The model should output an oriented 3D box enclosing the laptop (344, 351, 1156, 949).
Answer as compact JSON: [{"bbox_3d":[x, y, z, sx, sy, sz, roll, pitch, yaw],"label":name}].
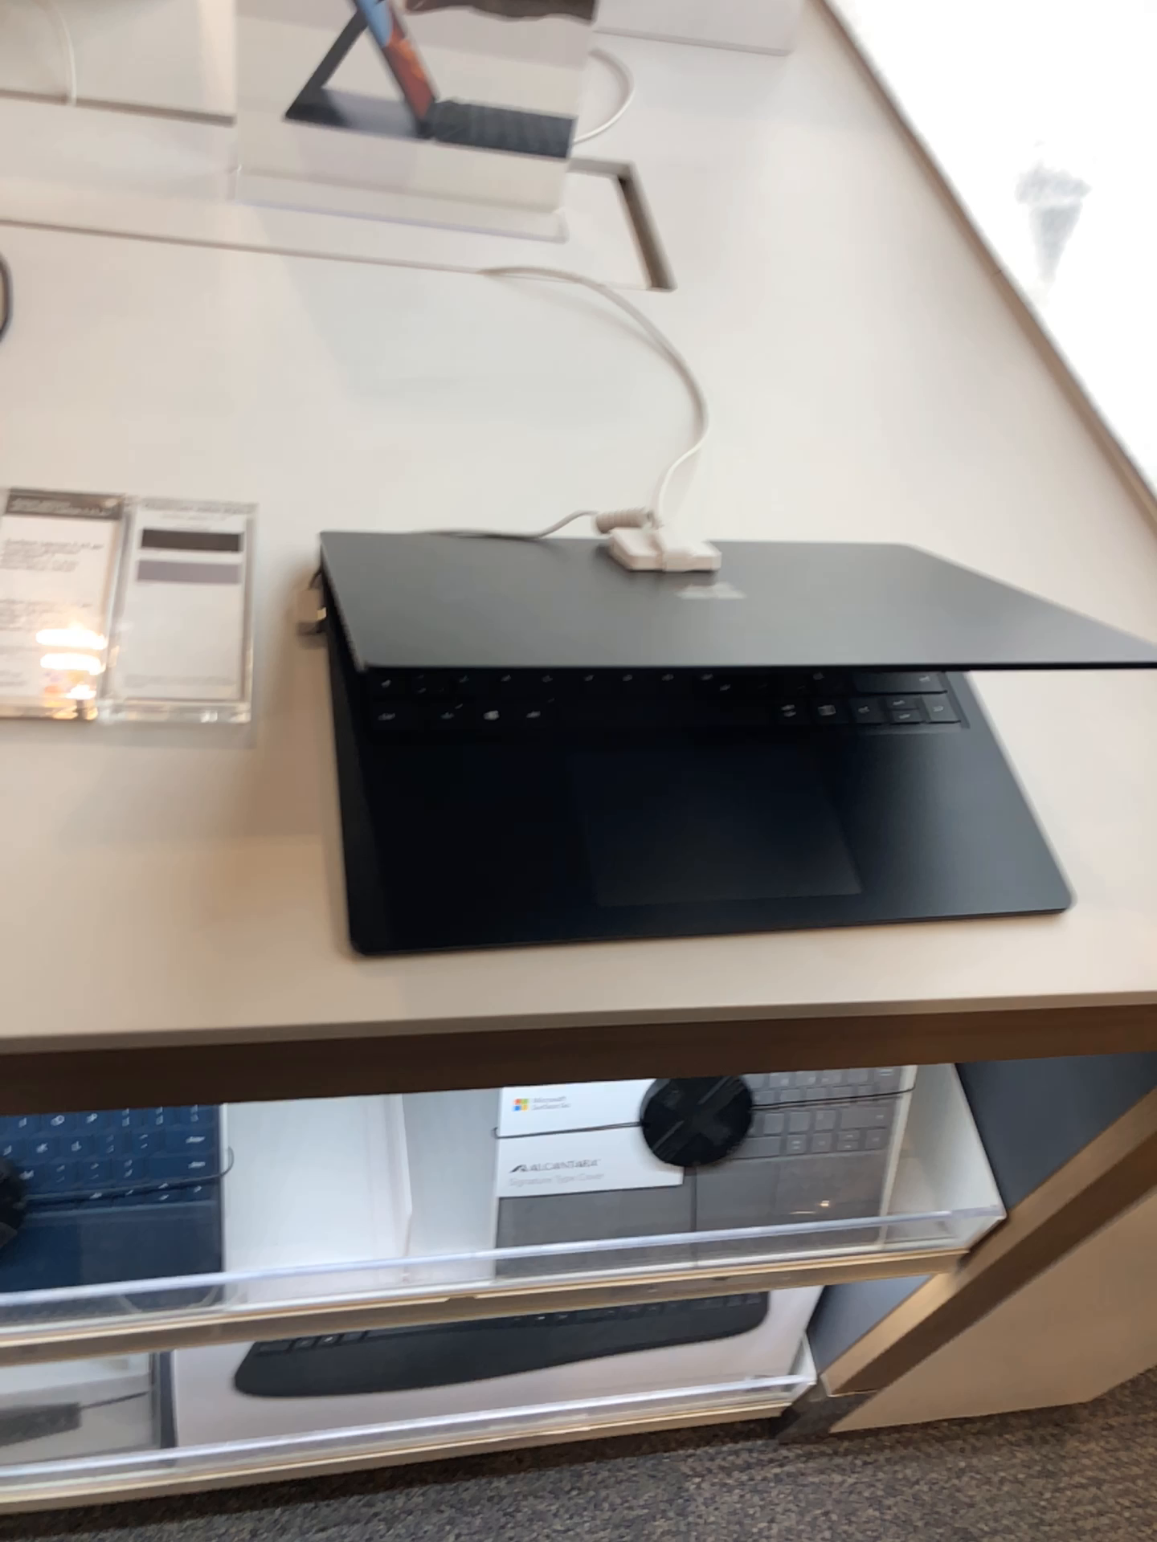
[{"bbox_3d":[0.058,-0.054,0.500,0.284,0.086,0.191,-2,58,-16],"label":"laptop"}]
